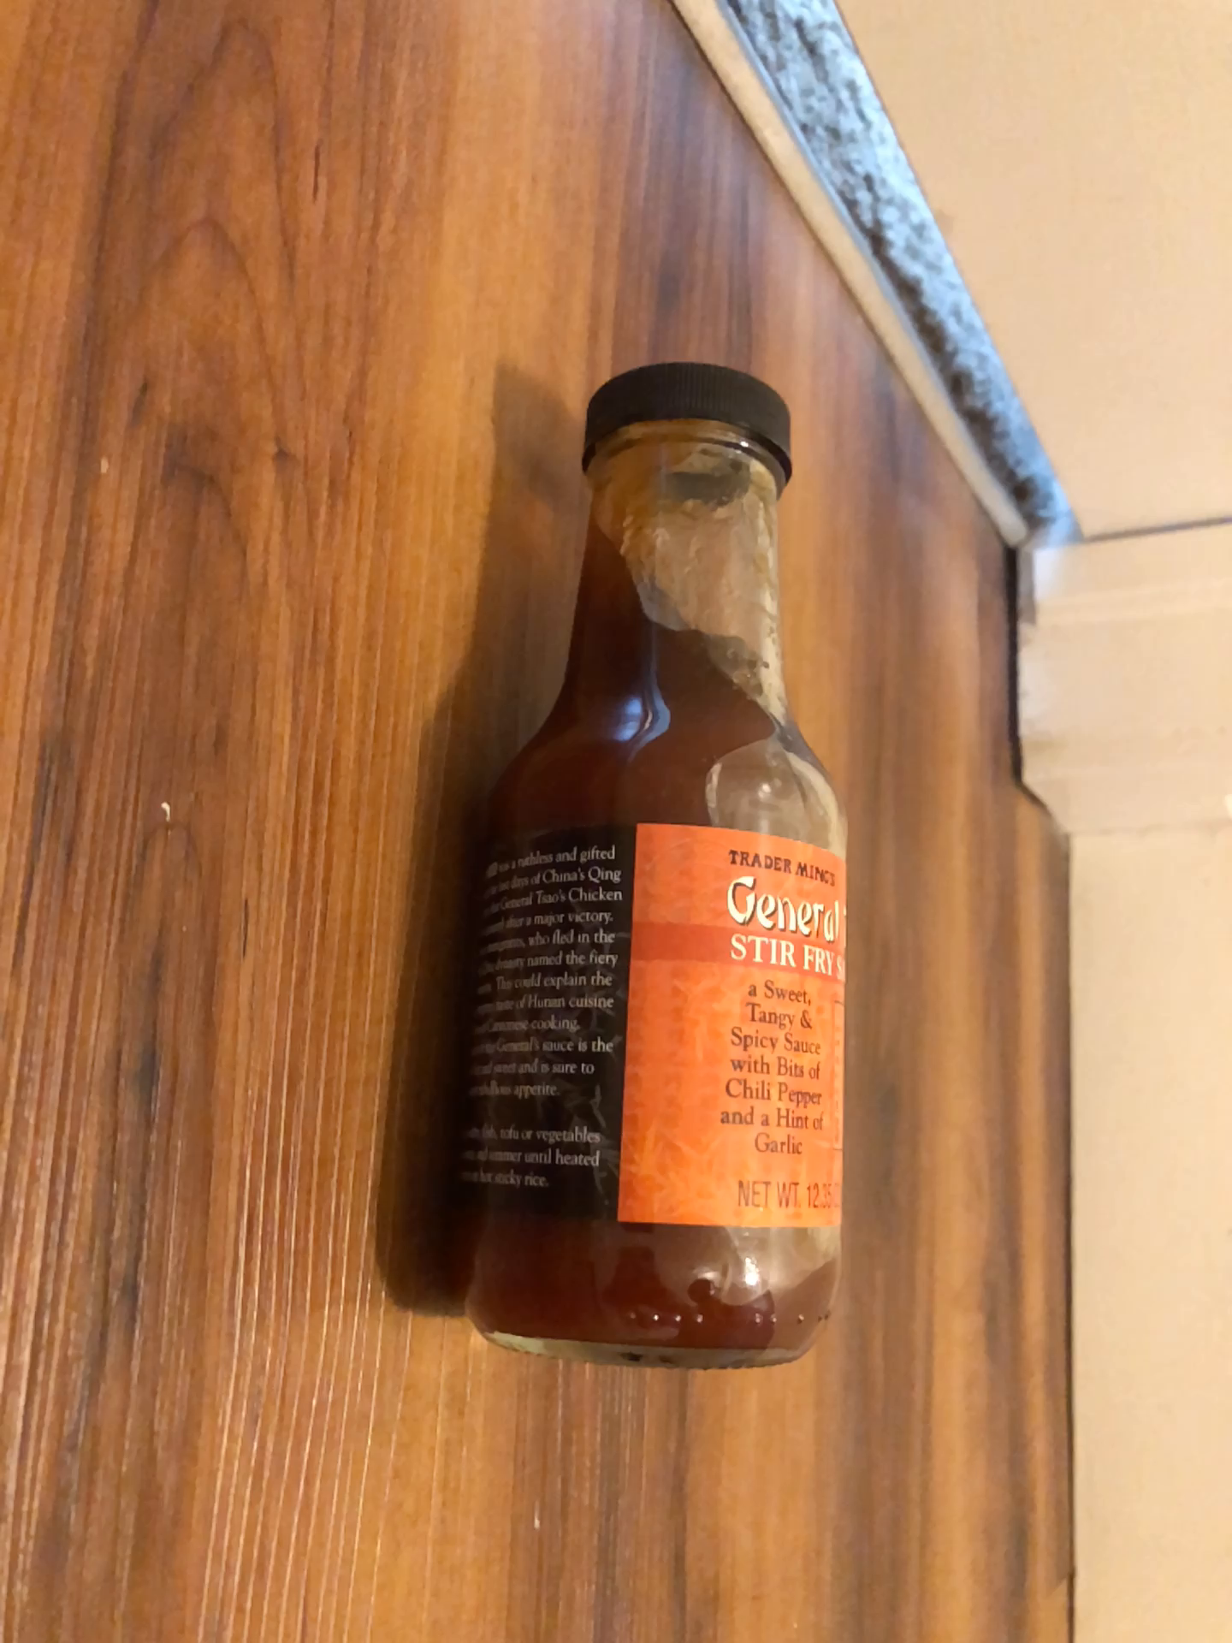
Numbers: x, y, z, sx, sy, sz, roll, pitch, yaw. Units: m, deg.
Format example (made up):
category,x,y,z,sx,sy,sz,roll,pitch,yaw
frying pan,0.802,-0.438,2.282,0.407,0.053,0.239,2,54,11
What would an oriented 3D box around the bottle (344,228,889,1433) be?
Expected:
category,x,y,z,sx,sy,sz,roll,pitch,yaw
bottle,0.006,0.003,0.243,0.069,0.060,0.180,22,66,-54
